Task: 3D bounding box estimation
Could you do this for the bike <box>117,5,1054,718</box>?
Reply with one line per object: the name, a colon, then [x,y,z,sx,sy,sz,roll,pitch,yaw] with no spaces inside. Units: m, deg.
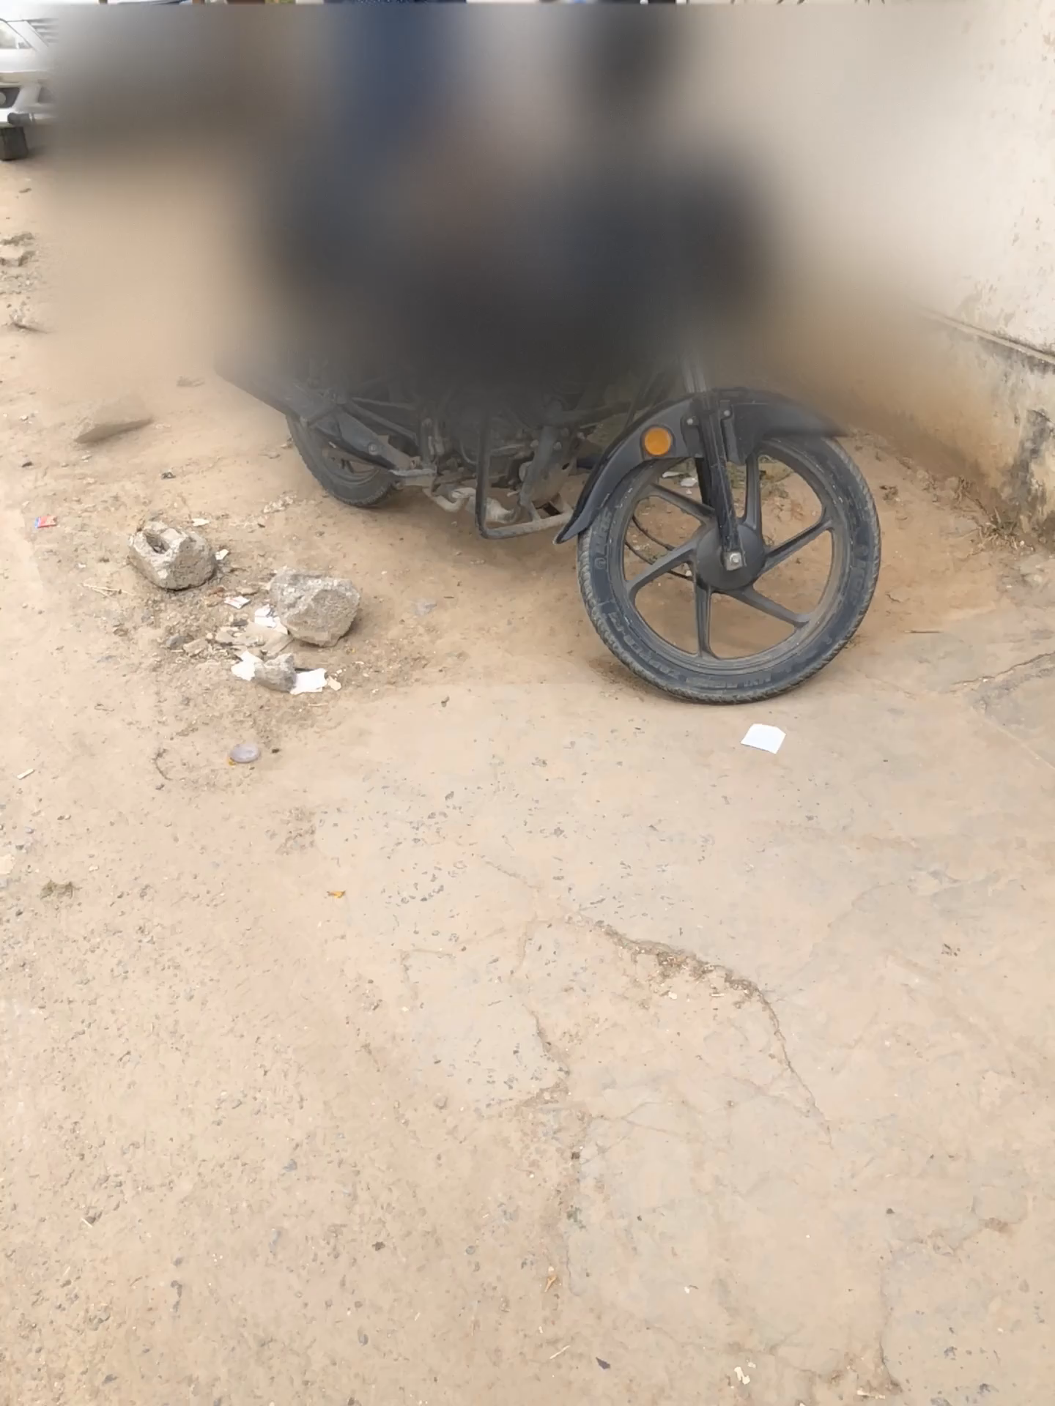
bike: [0.062,-0.853,2.555,1.665,1.069,0.725,24,42,31]
